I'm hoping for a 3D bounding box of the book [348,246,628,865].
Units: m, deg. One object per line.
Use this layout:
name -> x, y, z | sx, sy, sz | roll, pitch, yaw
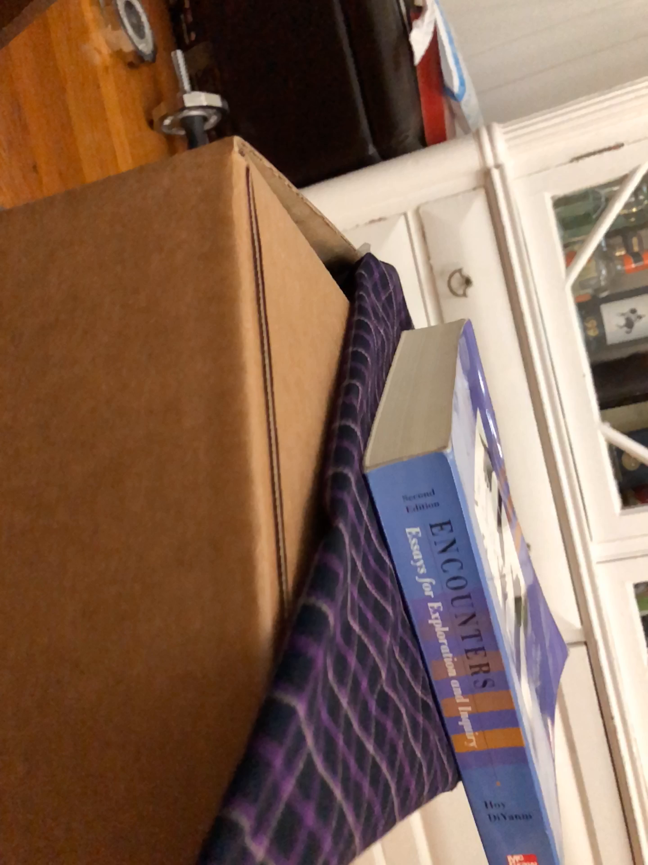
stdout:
book -> 0.085, 0.066, 0.344 | 0.201, 0.040, 0.260 | -70, 144, -60
